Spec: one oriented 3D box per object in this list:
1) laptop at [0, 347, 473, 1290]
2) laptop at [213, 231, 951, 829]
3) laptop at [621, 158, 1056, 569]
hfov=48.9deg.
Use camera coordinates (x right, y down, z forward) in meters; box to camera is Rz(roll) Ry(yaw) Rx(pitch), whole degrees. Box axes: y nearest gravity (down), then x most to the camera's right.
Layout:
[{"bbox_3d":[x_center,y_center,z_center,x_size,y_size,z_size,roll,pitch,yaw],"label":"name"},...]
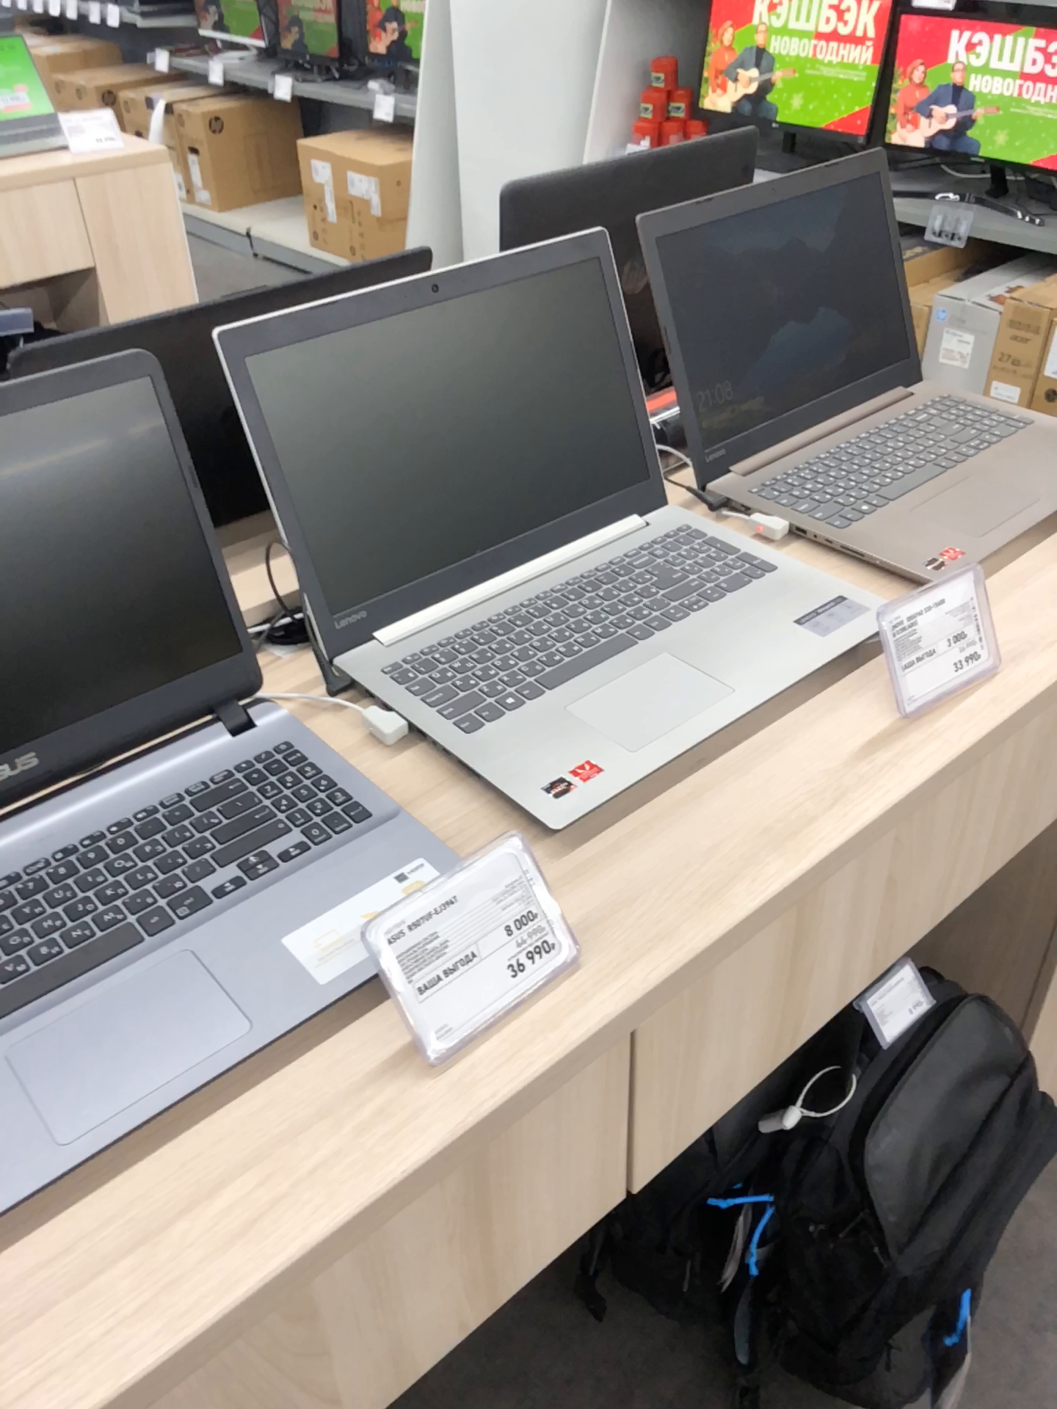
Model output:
[{"bbox_3d":[-0.253,0.009,0.603,0.327,0.232,0.319,-27,43,-31],"label":"laptop"},{"bbox_3d":[0.037,-0.161,0.841,0.366,0.220,0.336,-28,44,-32],"label":"laptop"},{"bbox_3d":[0.347,-0.332,1.061,0.358,0.222,0.327,-30,45,-34],"label":"laptop"}]
